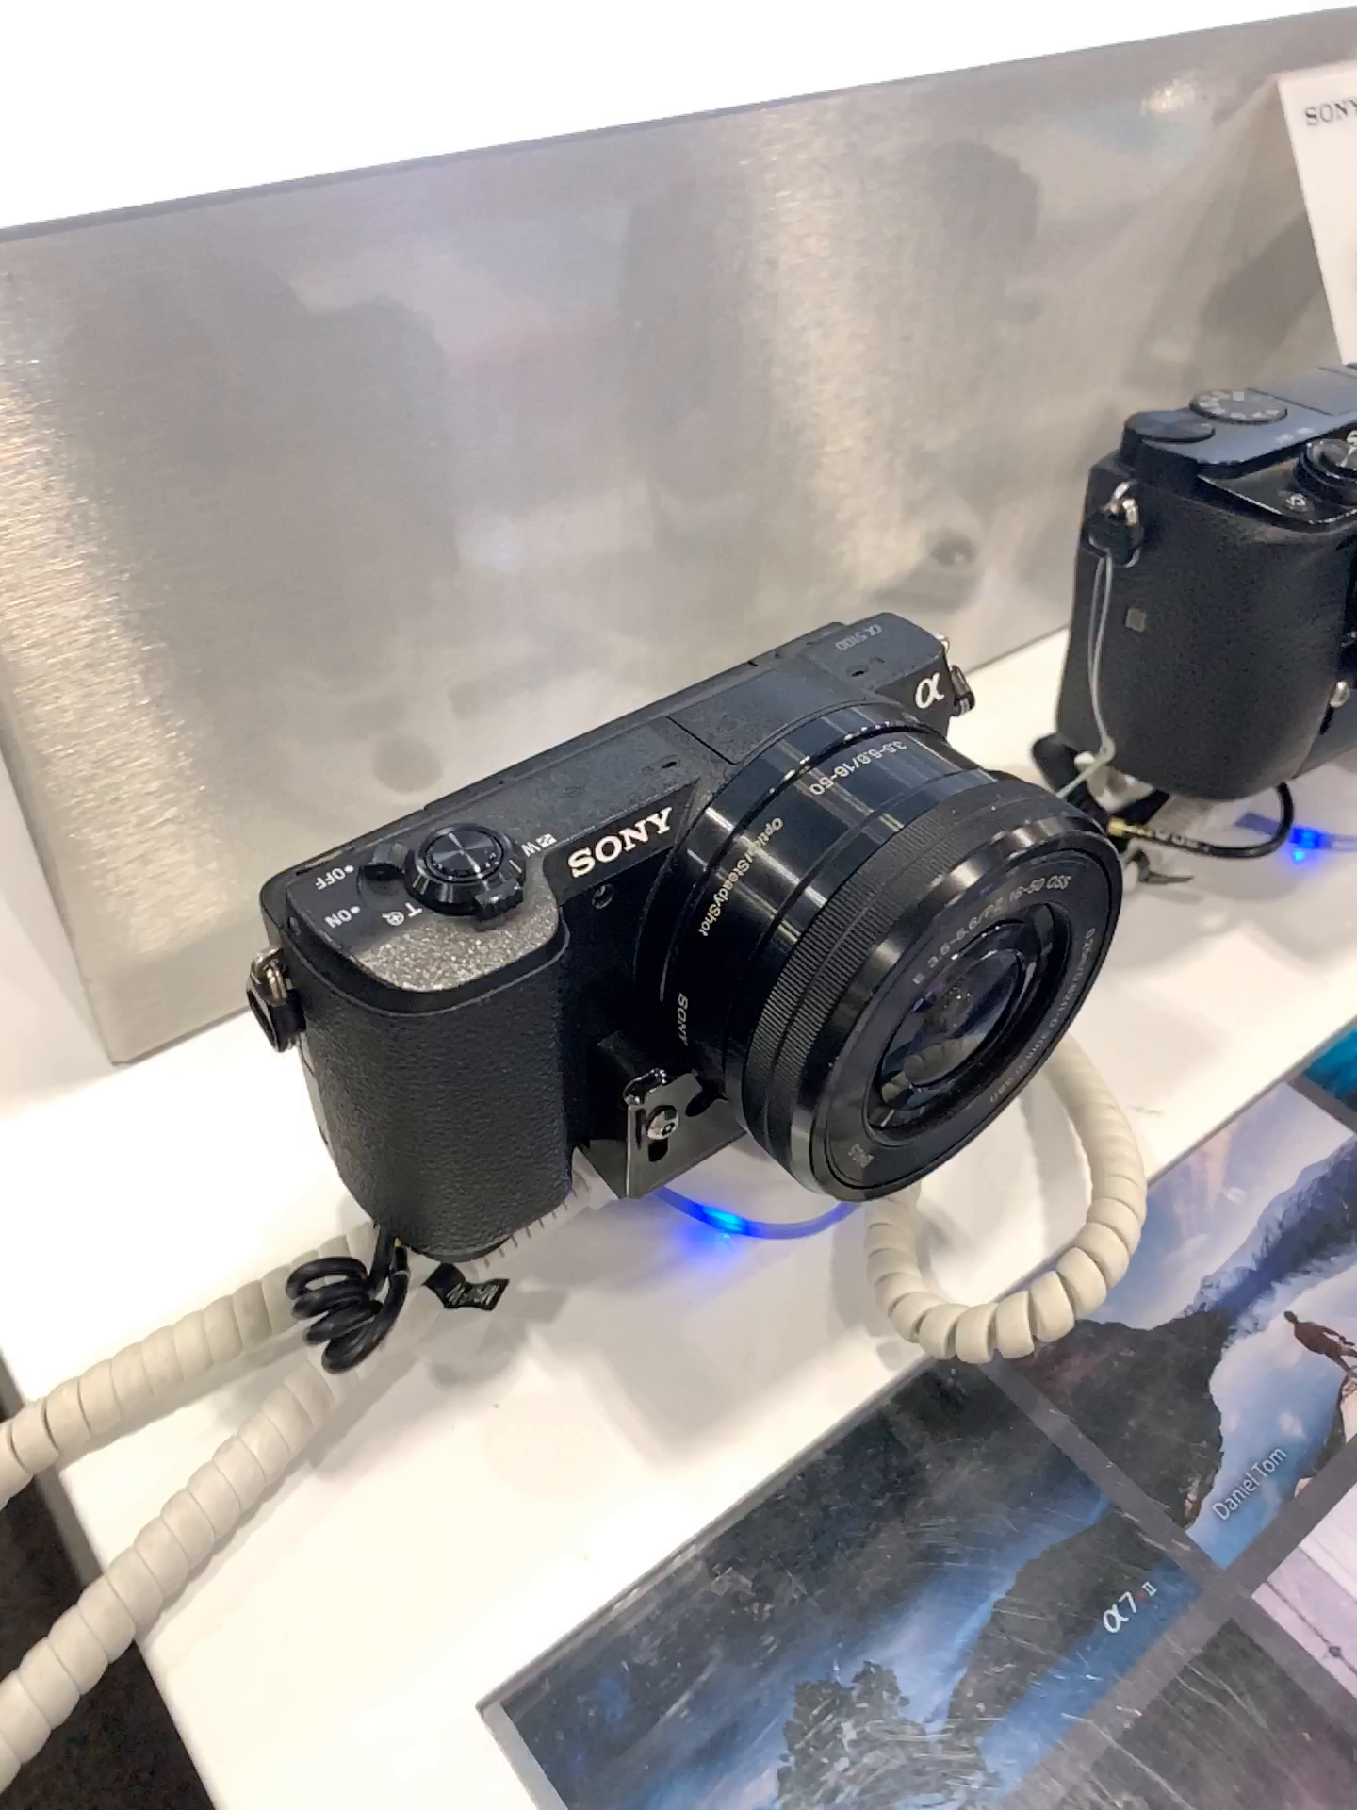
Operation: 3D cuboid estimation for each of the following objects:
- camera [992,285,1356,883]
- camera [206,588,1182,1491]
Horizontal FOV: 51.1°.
[{"bbox_3d":[0.140,-0.070,0.279,0.136,0.060,0.071,-24,45,-27],"label":"camera"},{"bbox_3d":[0.004,0.011,0.207,0.113,0.060,0.066,-29,52,-30],"label":"camera"}]
